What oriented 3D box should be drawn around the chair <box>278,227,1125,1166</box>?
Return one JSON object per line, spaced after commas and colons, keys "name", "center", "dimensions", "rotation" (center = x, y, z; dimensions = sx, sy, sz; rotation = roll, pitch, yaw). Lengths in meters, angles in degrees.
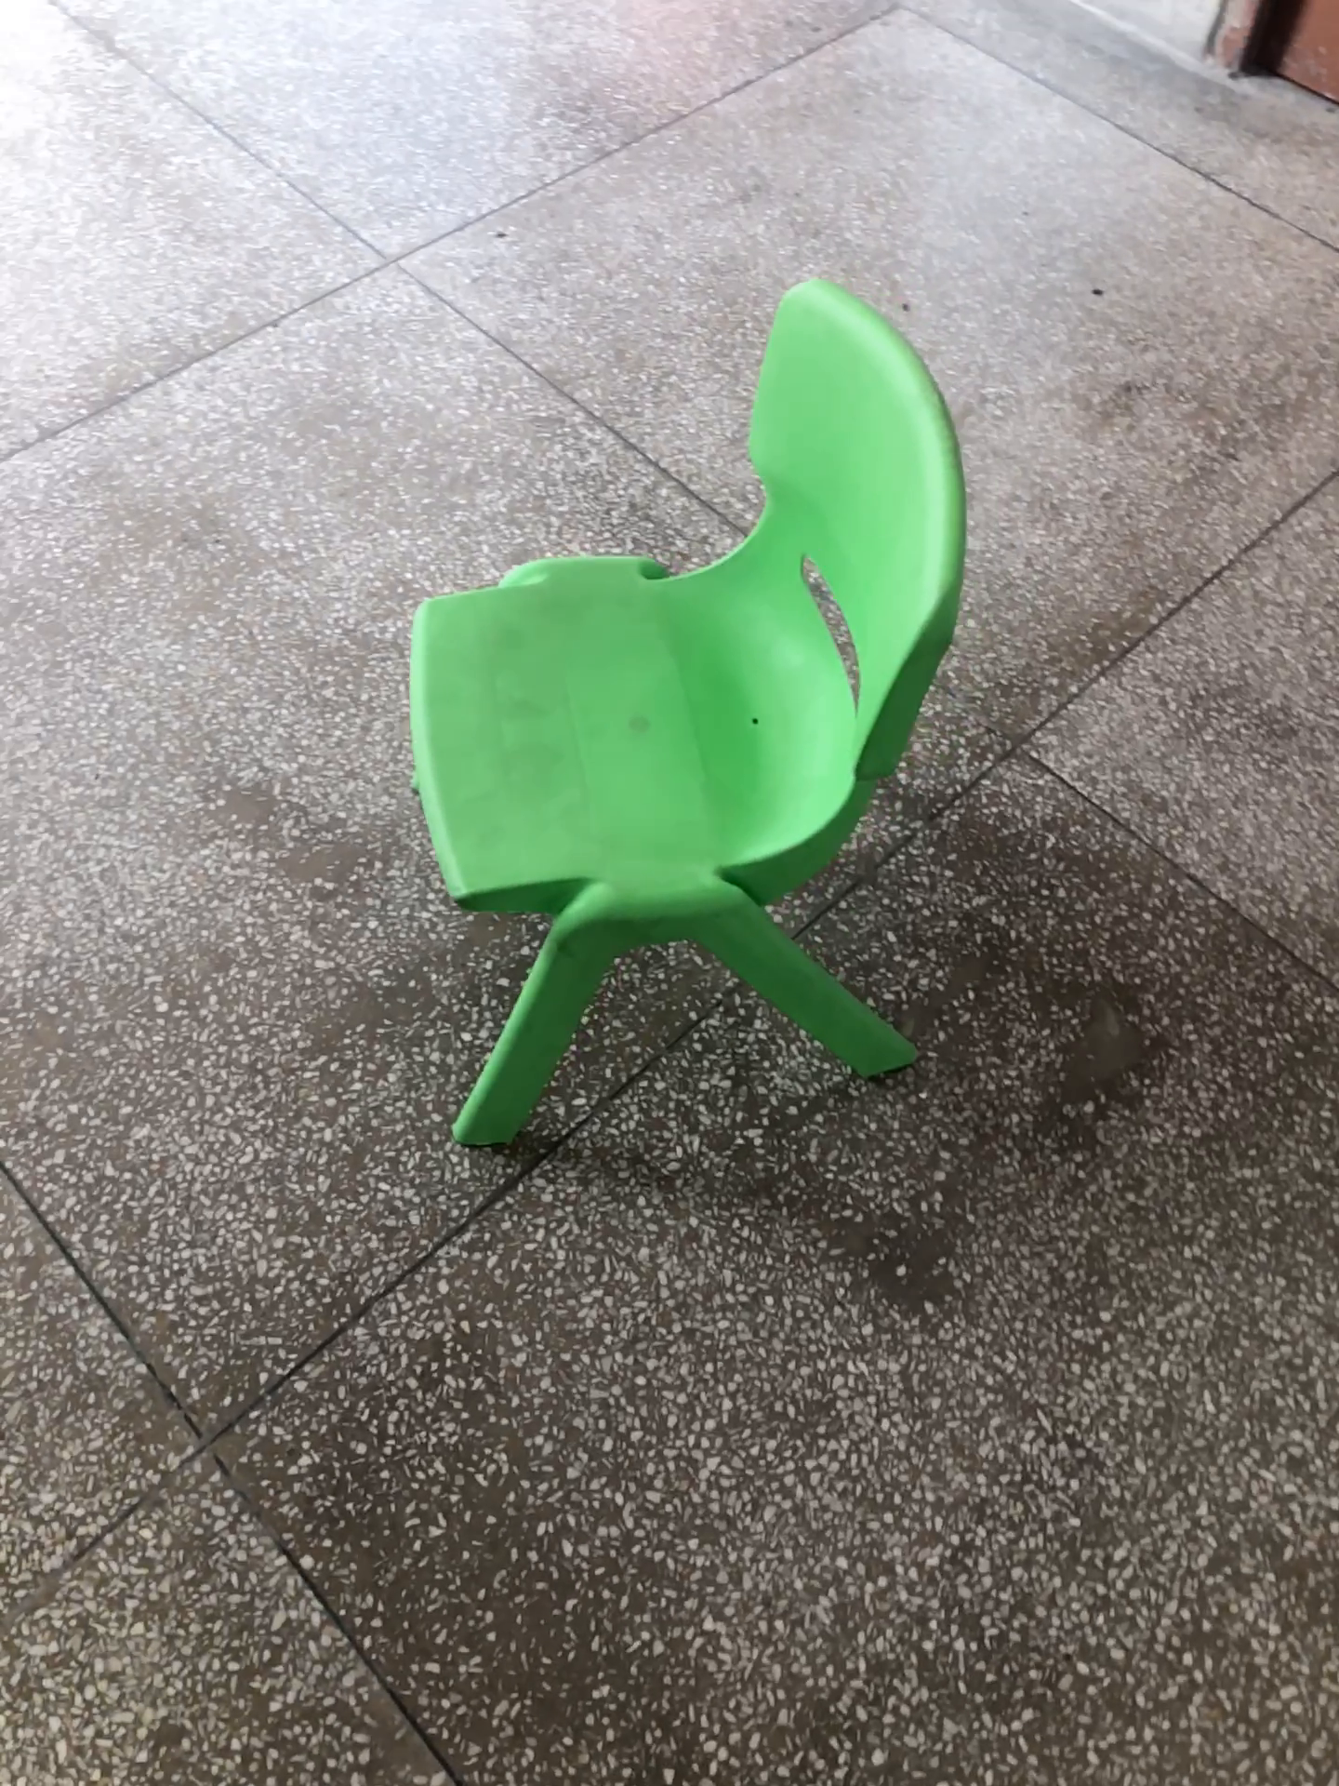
{"name": "chair", "center": [-0.014, -0.110, 0.984], "dimensions": [0.390, 0.459, 0.371], "rotation": [-8, 58, -8]}
